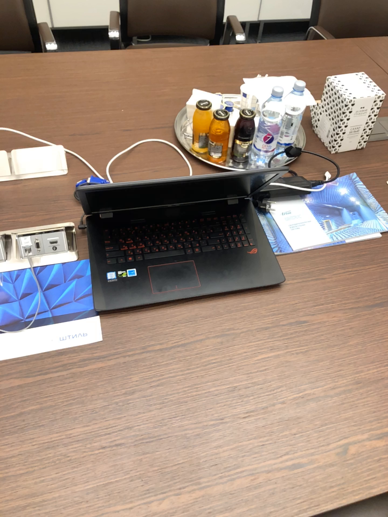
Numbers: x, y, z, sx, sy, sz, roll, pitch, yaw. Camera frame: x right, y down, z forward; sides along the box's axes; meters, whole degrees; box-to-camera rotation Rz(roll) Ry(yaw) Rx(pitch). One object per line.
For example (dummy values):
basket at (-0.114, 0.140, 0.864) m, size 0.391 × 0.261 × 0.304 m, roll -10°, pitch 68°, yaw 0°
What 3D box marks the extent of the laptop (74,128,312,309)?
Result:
laptop at (-0.017, -0.084, 0.827) m, size 0.376 × 0.189 × 0.238 m, roll -8°, pitch 53°, yaw -11°
